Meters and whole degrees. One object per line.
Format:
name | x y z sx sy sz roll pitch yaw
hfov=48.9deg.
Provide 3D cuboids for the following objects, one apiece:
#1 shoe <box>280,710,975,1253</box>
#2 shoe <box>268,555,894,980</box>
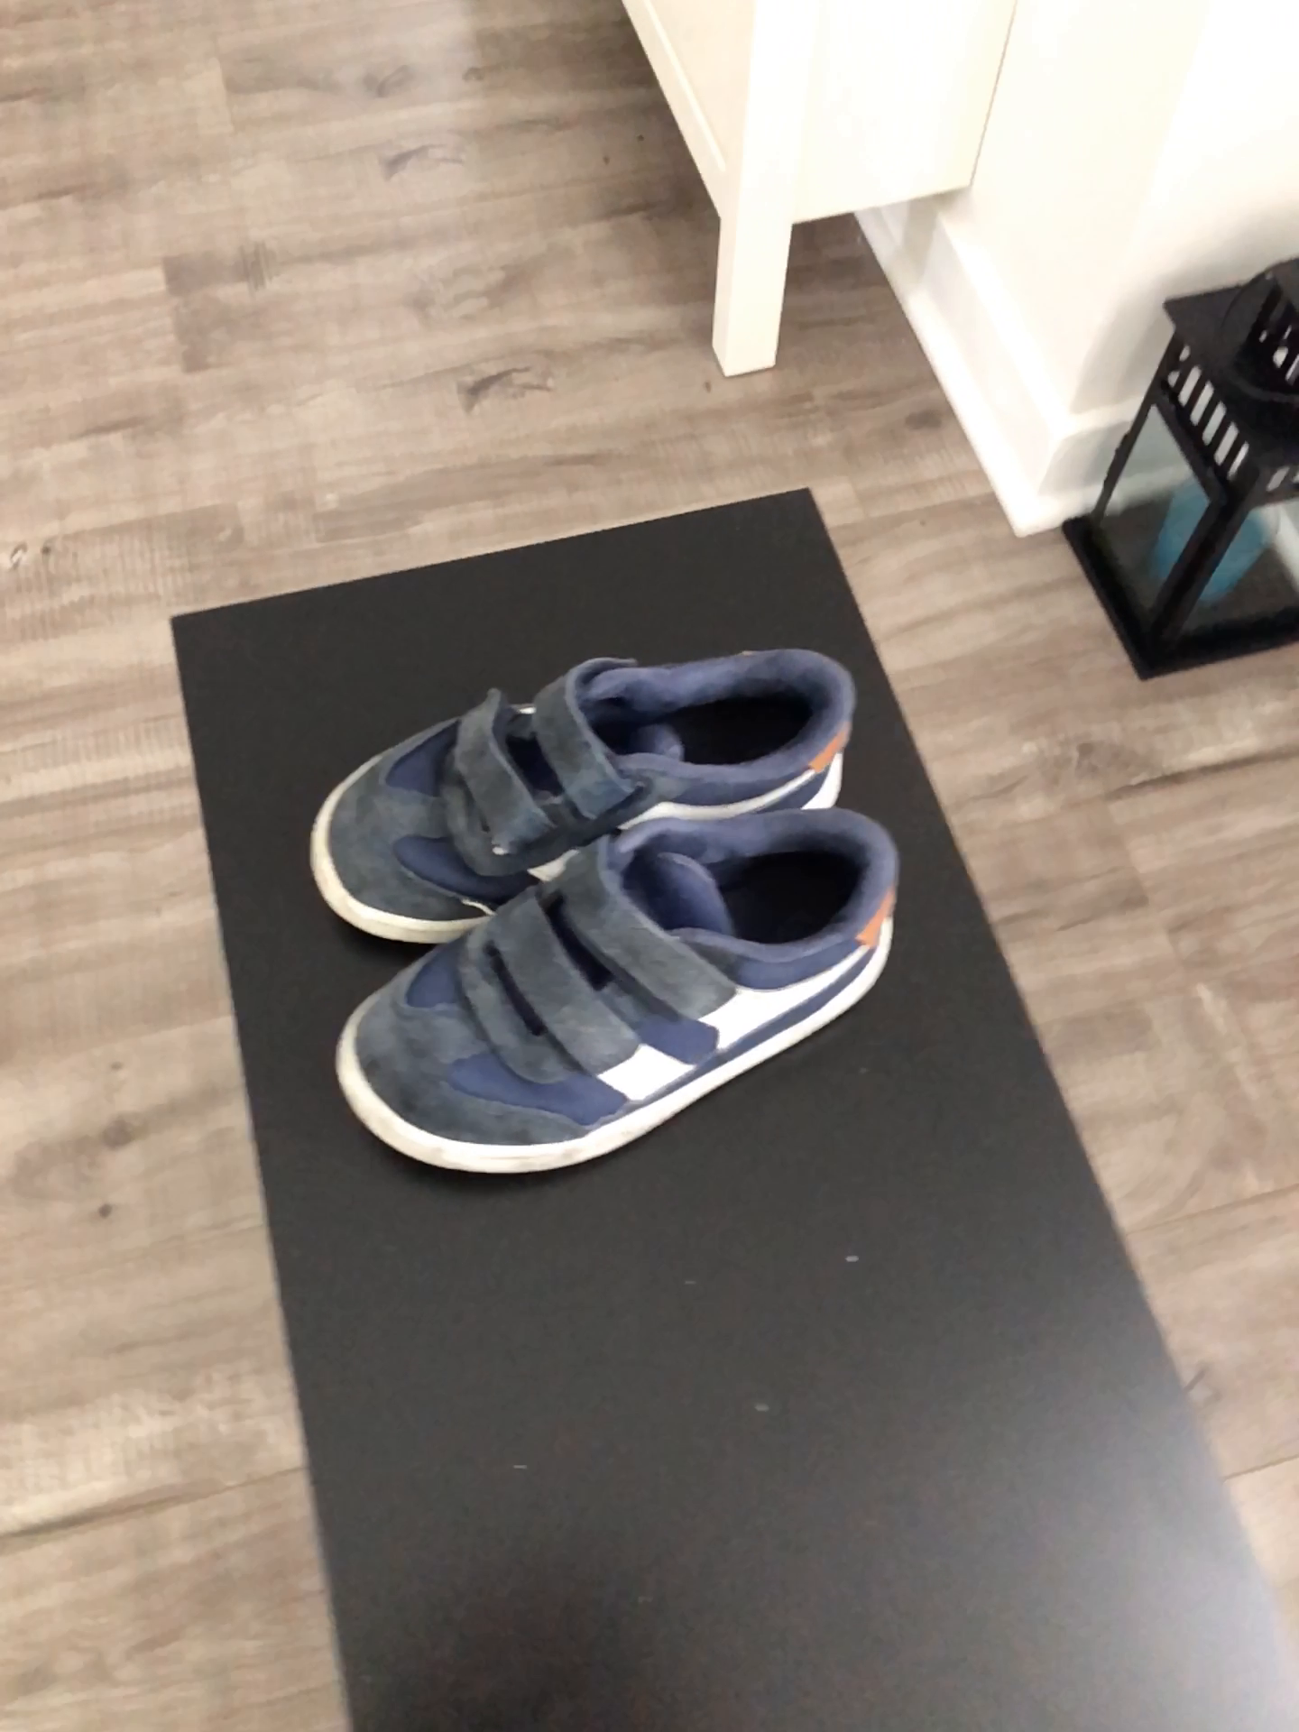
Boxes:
shoe | -0.007 0.035 0.451 0.185 0.068 0.088 -22 66 -11
shoe | -0.024 -0.033 0.485 0.185 0.068 0.082 -14 64 -7
